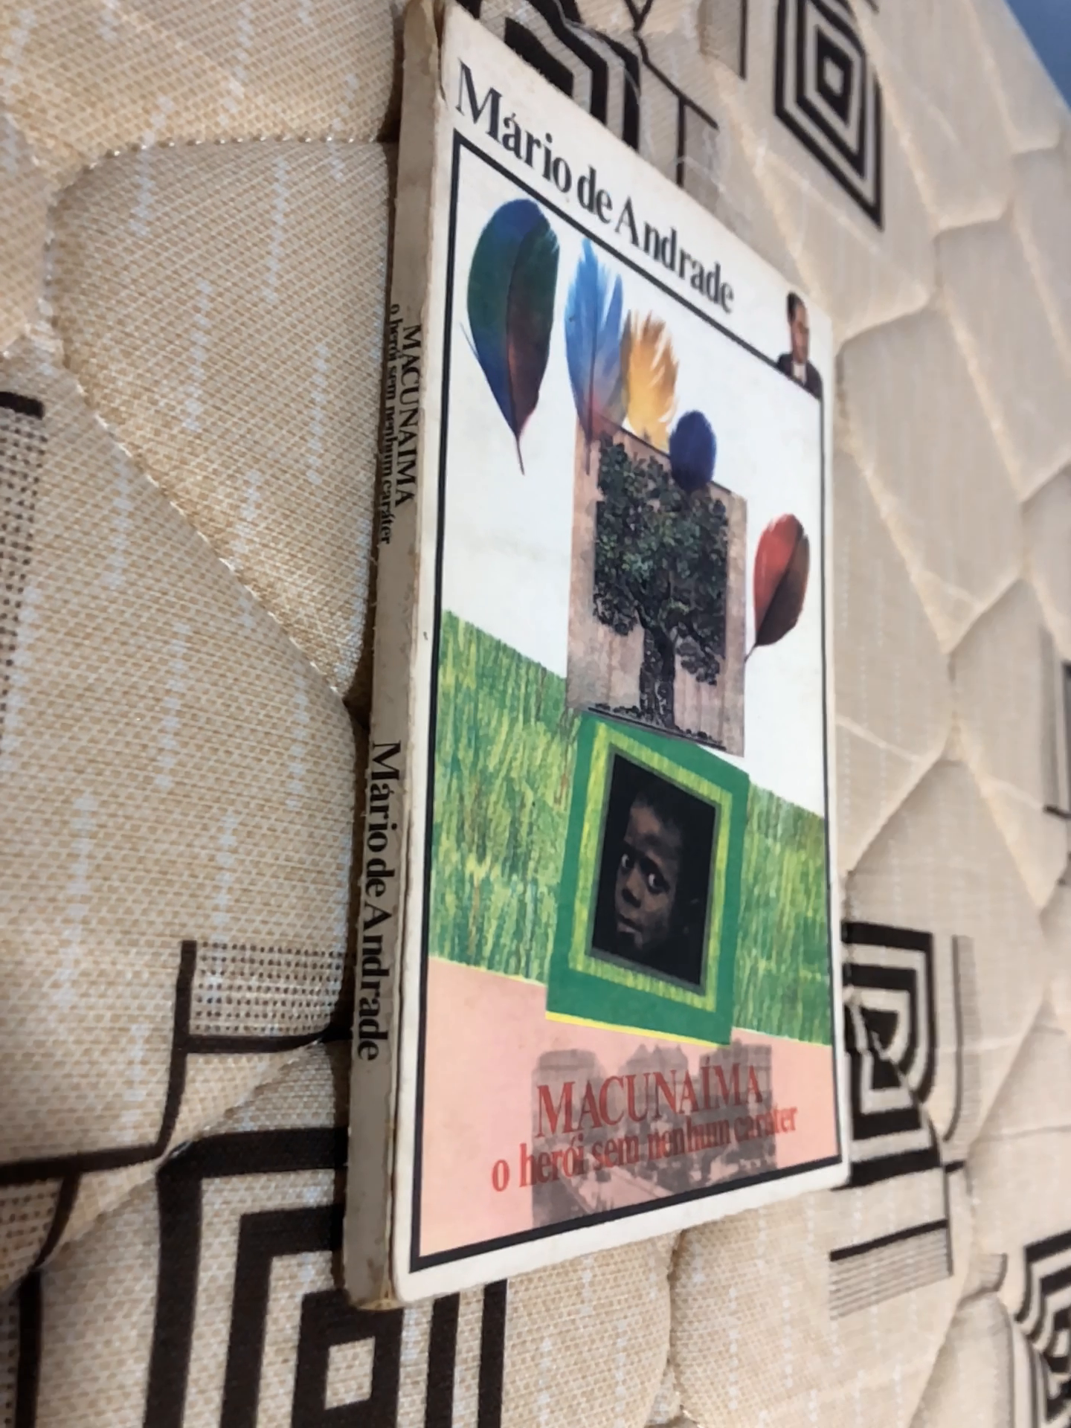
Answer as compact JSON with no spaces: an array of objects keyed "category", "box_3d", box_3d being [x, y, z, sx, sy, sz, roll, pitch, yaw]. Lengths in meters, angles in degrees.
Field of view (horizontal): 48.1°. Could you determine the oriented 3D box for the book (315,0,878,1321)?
[{"category":"book","box_3d":[0.022,-0.008,0.221,0.131,0.020,0.190,13,74,-48]}]
